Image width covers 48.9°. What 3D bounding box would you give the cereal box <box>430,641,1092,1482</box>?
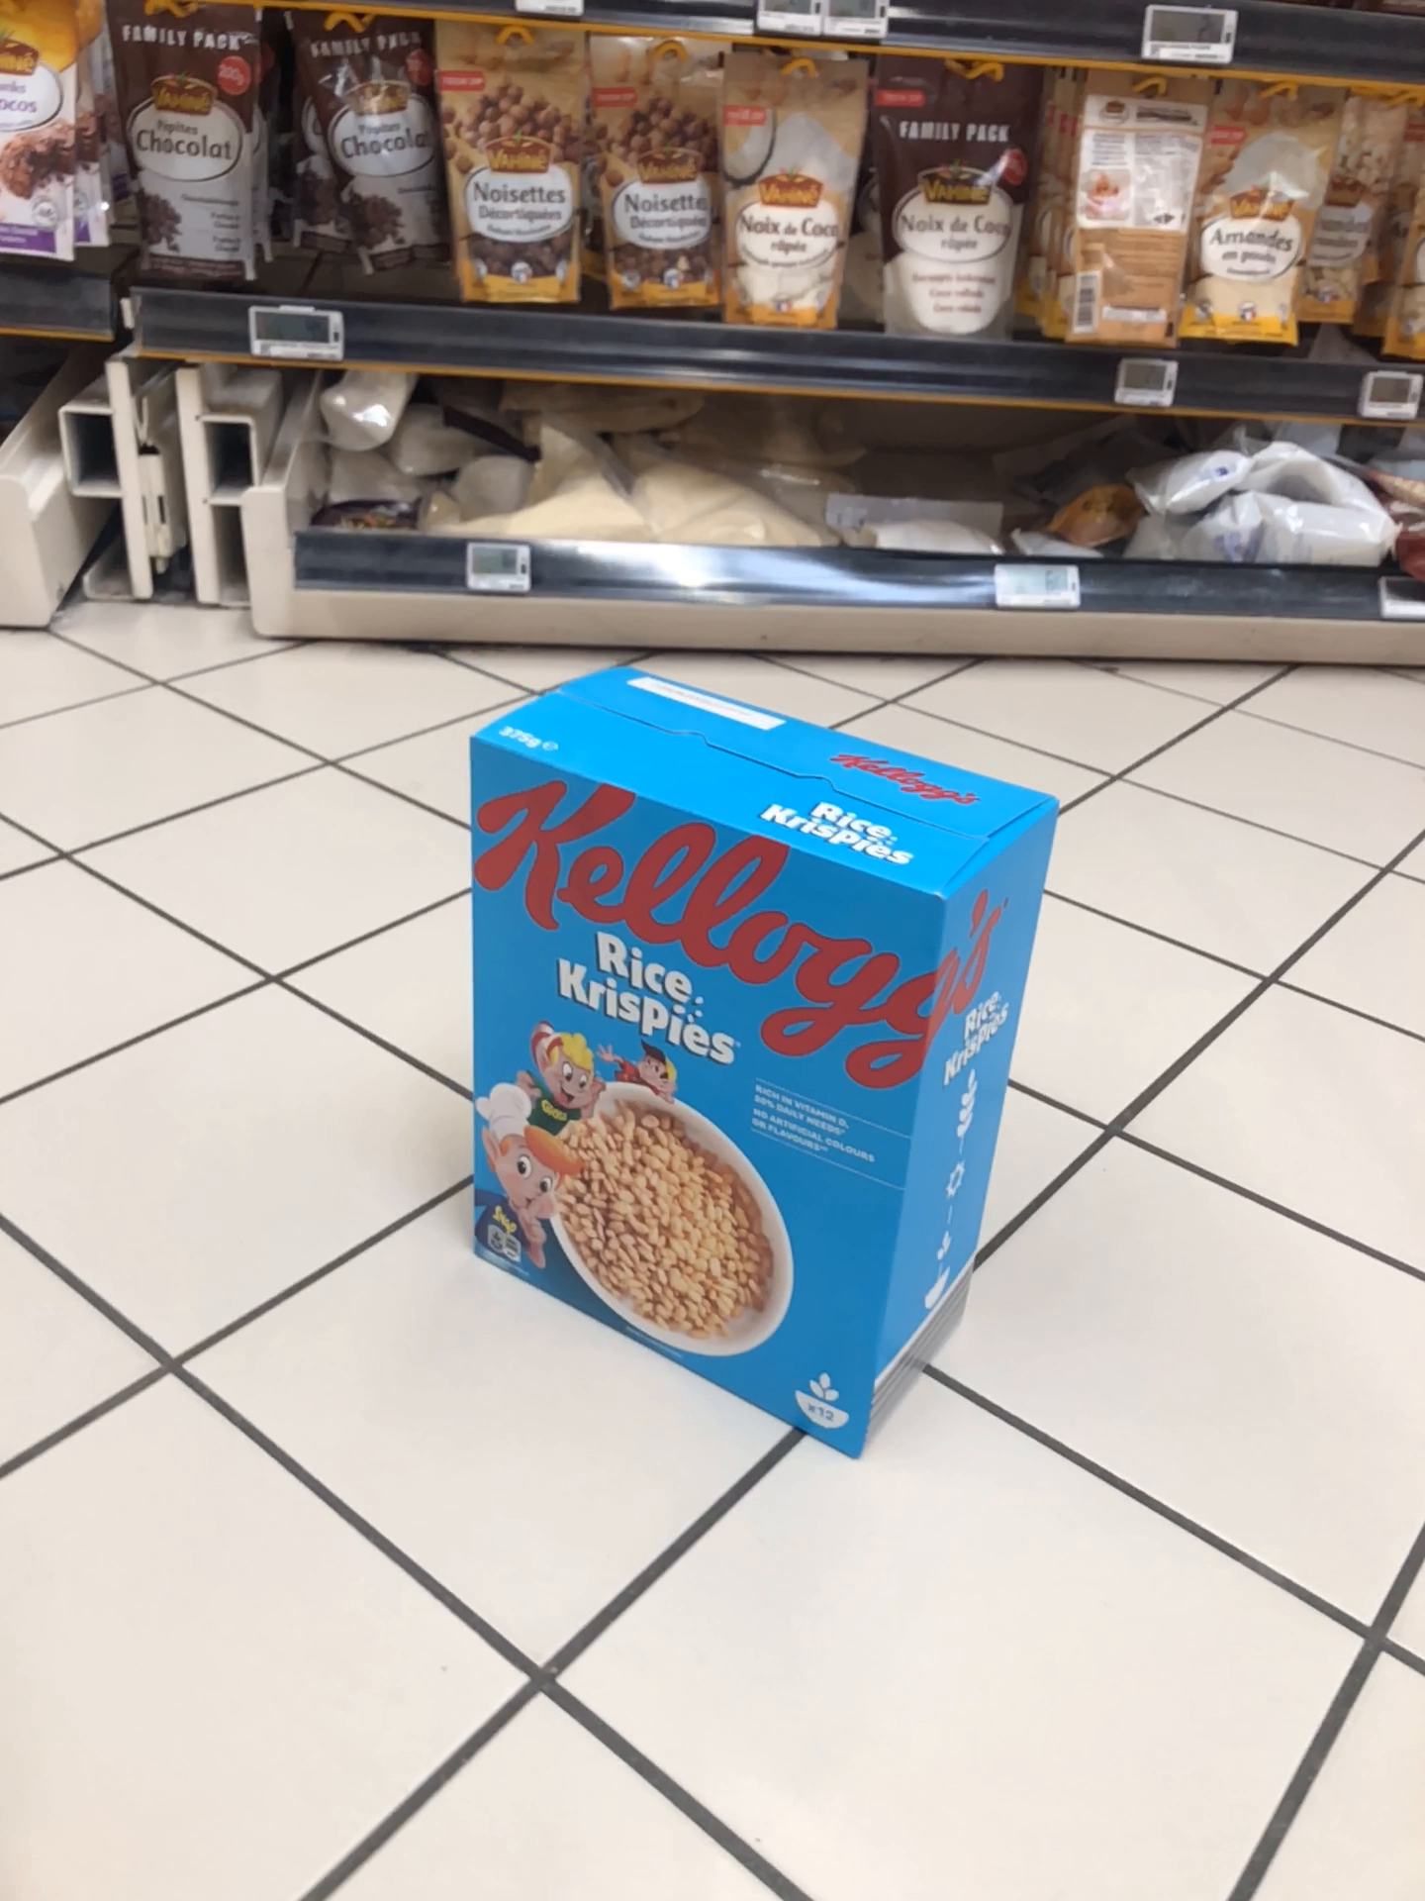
[{"bbox_3d":[0.008,0.035,0.596,0.200,0.239,0.111,22,34,28],"label":"cereal box"}]
